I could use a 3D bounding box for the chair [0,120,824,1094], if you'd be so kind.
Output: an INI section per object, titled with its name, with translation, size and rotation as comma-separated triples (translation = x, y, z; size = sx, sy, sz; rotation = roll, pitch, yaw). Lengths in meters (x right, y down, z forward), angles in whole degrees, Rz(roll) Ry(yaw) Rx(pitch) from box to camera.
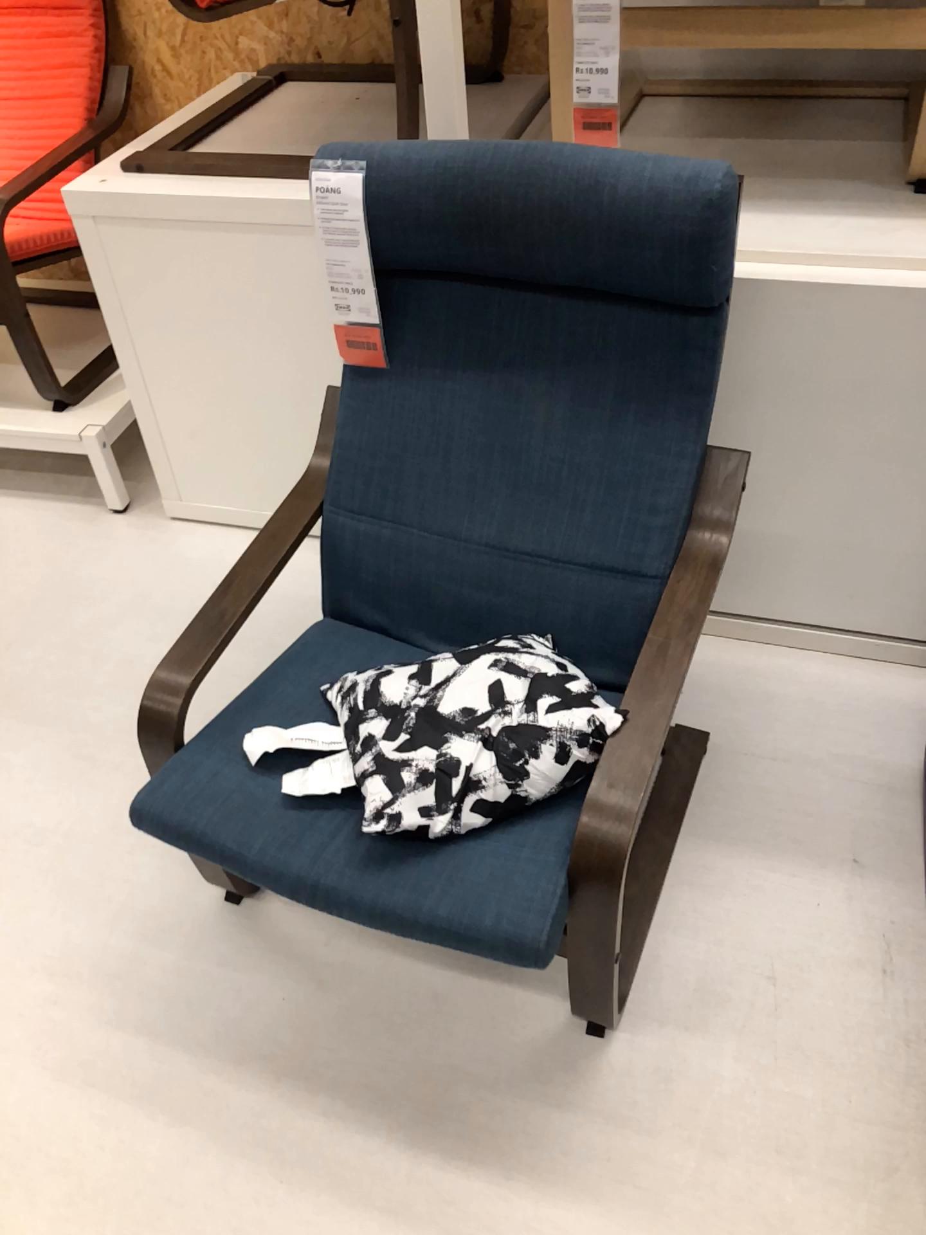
[chair]
translation = -0.040, -0.045, 1.311
size = 0.721, 0.884, 0.693
rotation = 14, 45, 21
